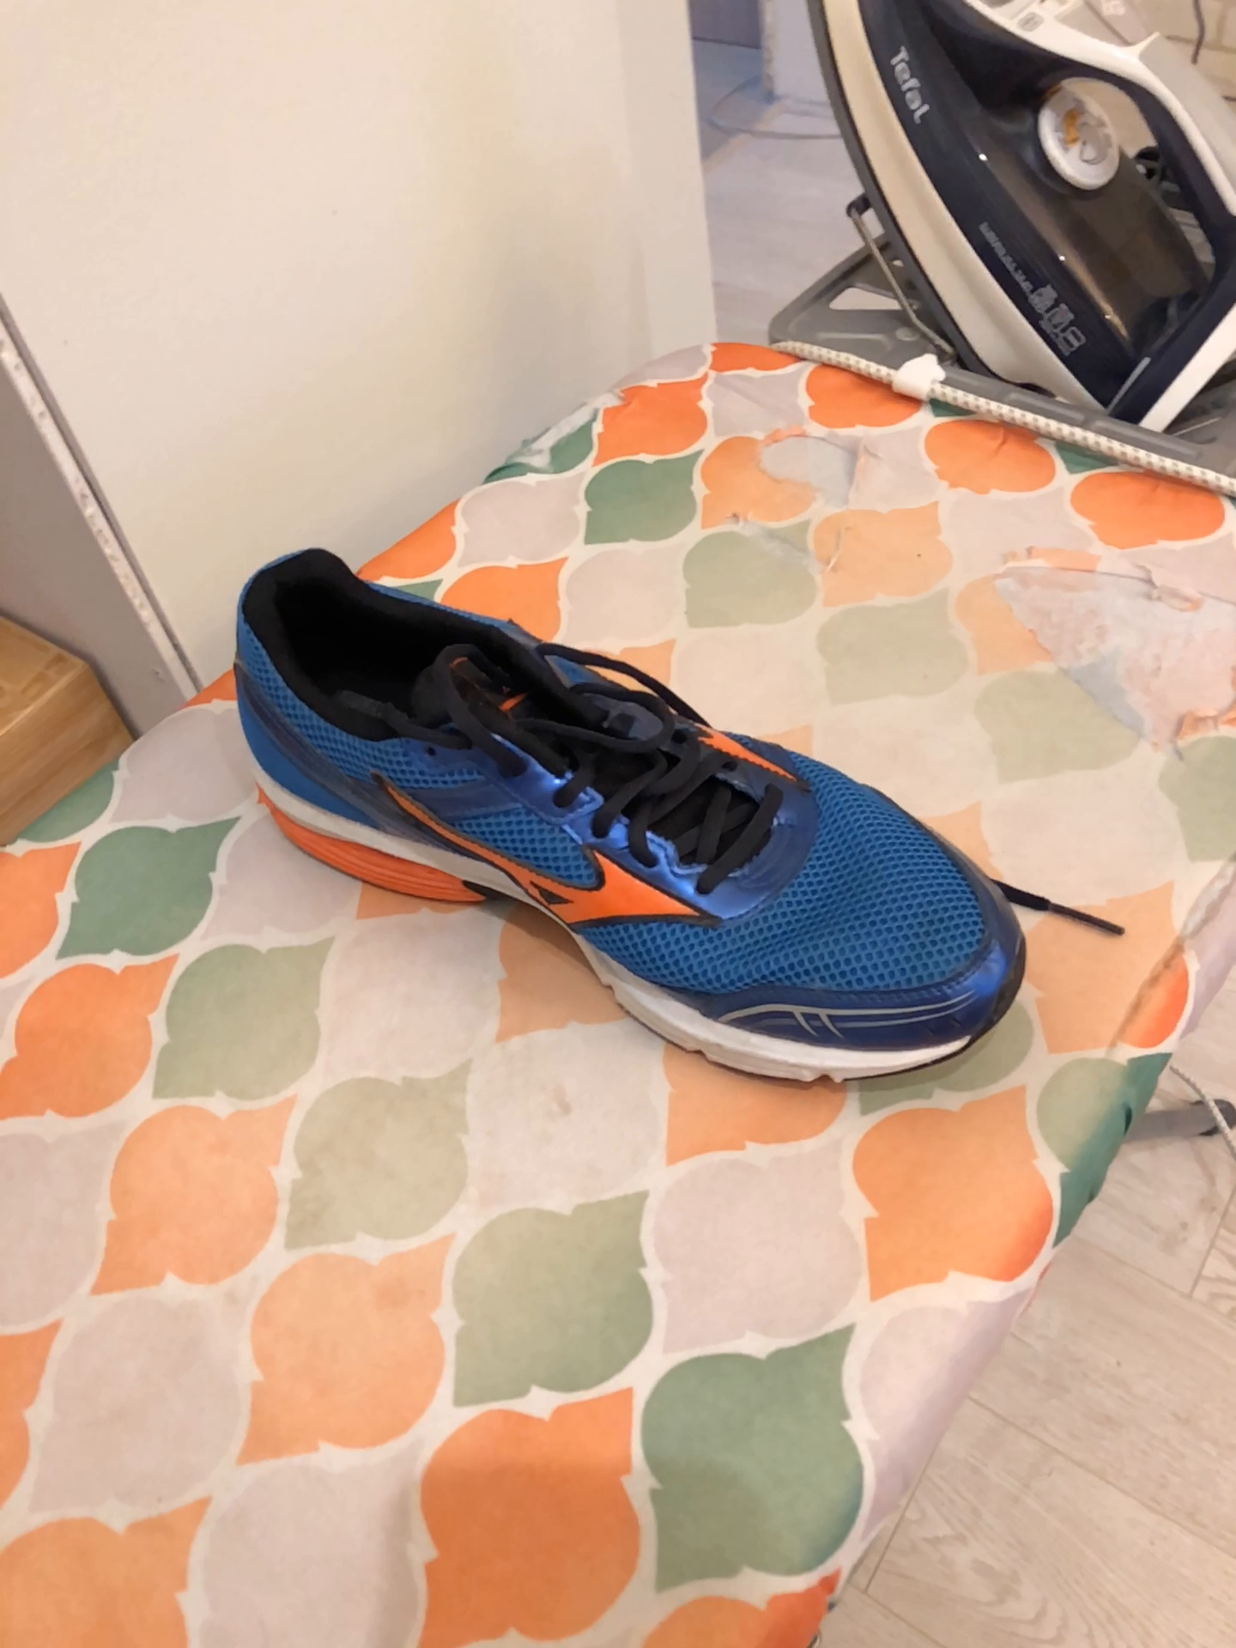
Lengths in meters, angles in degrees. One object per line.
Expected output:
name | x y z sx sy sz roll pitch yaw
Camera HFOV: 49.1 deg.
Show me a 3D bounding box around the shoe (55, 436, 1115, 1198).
shoe | -0.016 -0.015 0.456 0.310 0.109 0.121 22 60 23
